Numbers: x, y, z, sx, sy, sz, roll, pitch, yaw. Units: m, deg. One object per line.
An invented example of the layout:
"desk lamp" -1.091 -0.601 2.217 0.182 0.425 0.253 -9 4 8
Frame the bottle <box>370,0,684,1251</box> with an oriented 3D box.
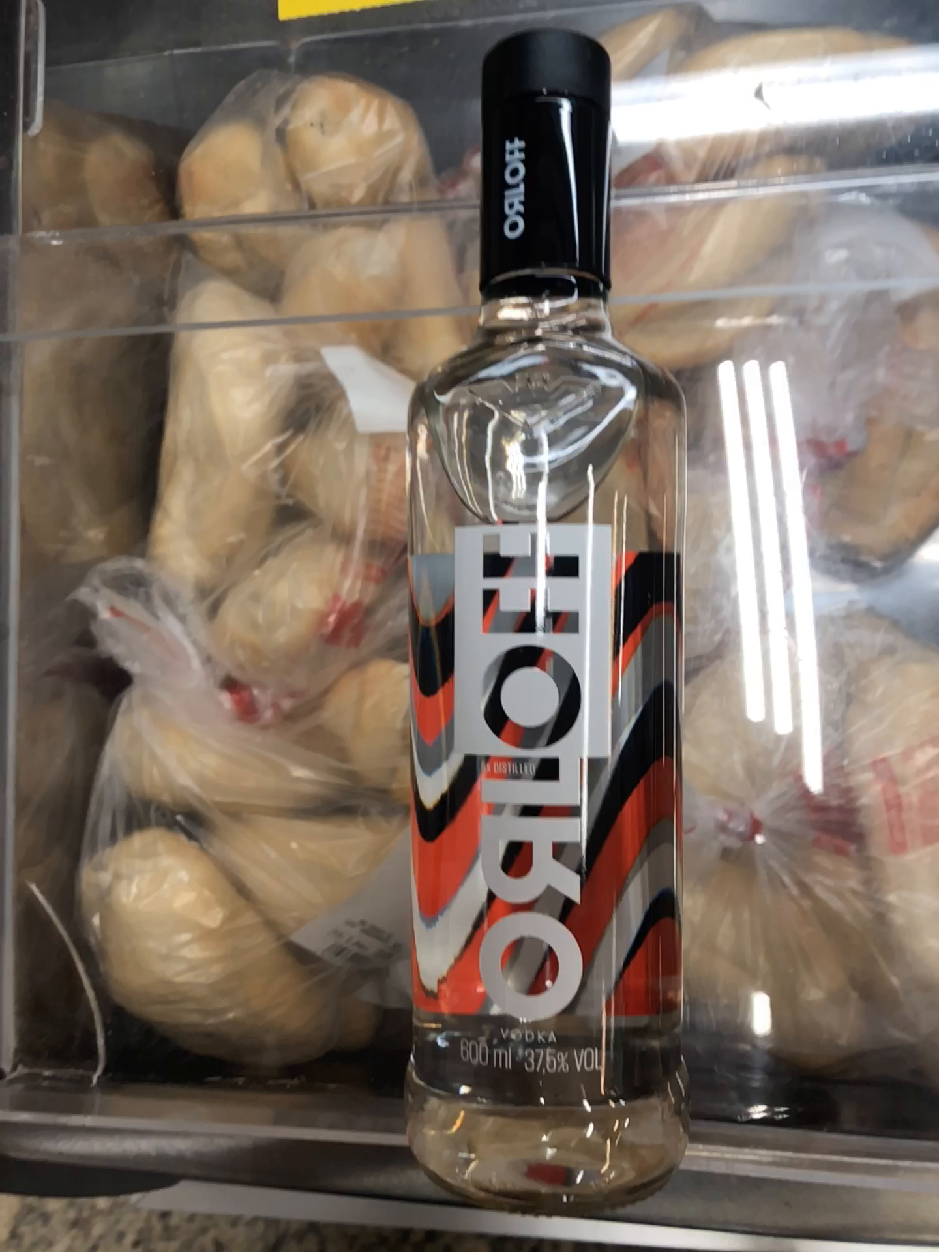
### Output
"bottle" 0.019 -0.014 0.270 0.070 0.070 0.300 0 88 11
